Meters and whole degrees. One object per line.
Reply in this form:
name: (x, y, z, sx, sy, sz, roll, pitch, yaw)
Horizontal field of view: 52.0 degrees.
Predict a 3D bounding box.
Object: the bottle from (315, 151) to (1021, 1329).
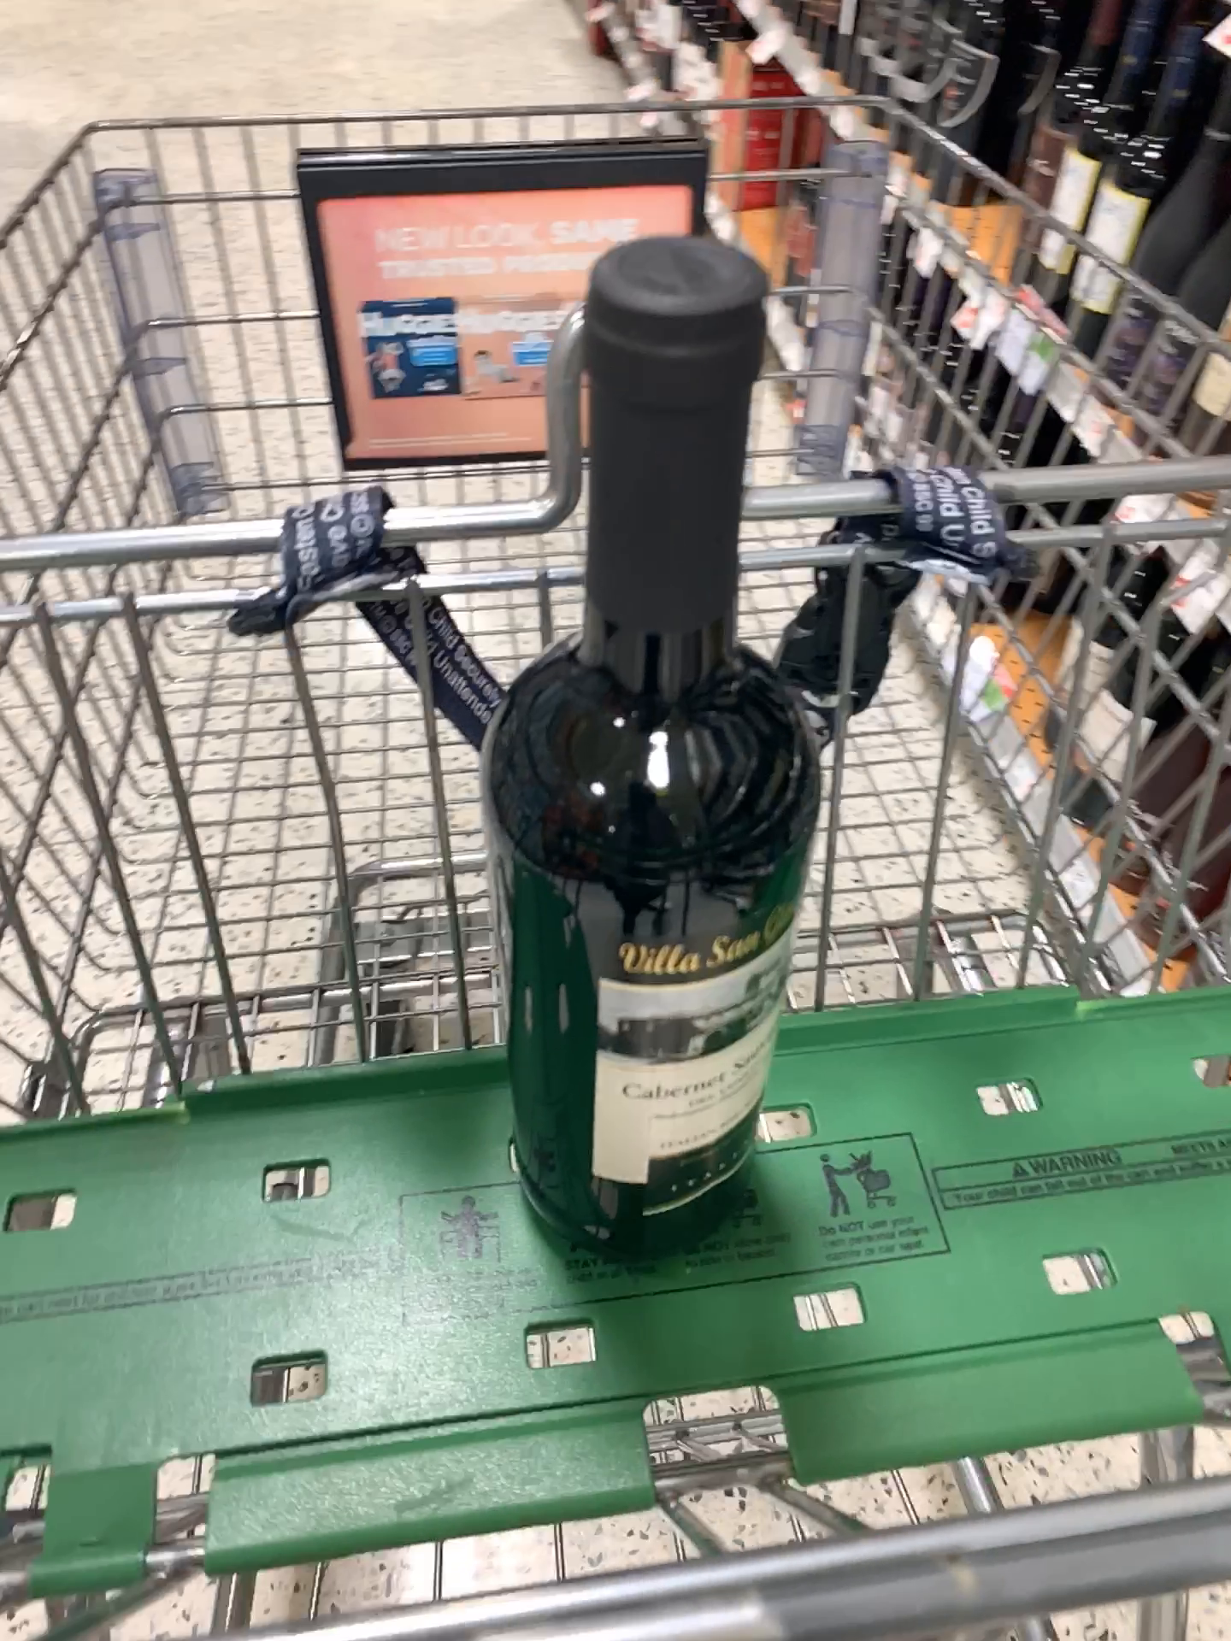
bottle: (0.005, 0.011, 0.295, 0.080, 0.277, 0.075, 0, 47, -1)
